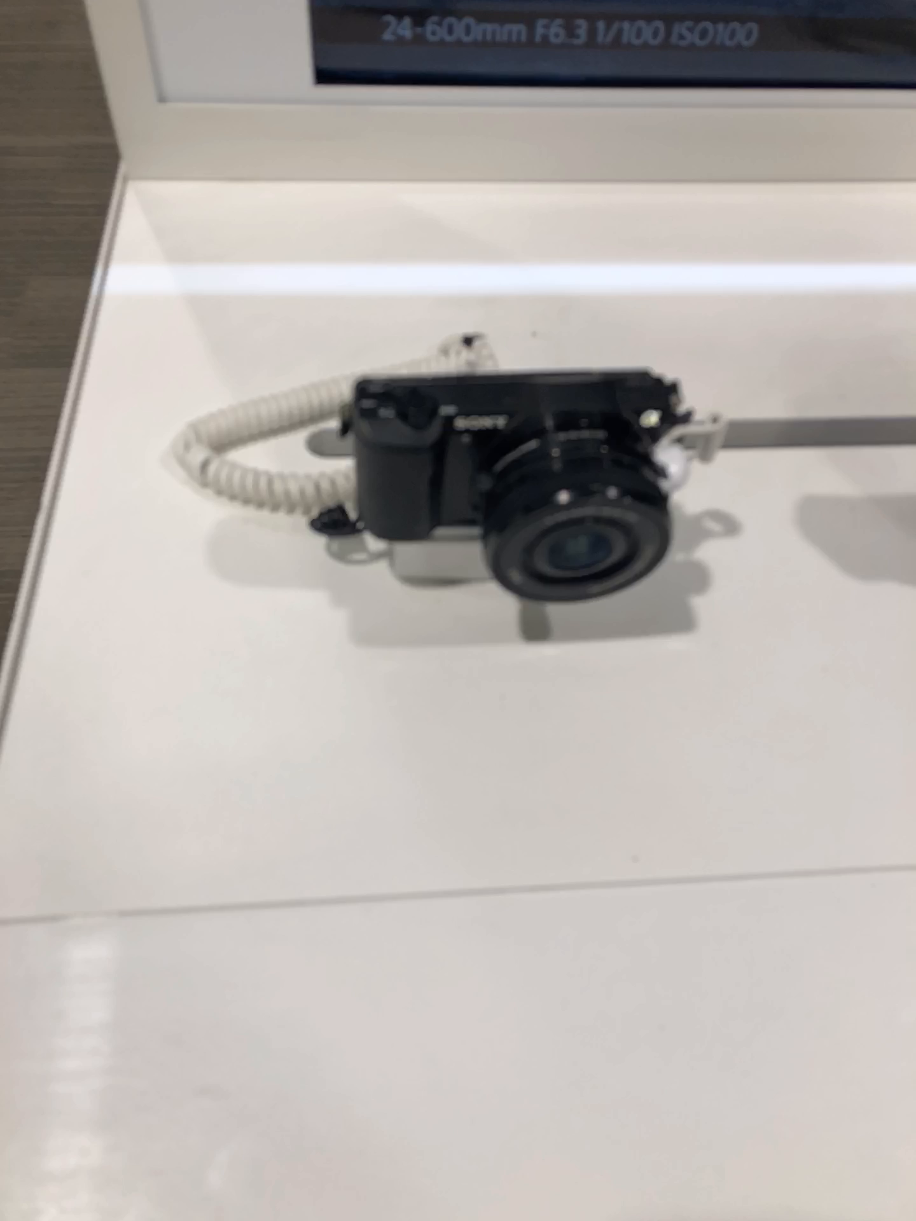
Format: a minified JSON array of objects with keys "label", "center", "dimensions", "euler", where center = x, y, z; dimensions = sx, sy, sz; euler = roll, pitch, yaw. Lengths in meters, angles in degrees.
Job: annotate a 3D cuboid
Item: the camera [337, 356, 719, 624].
[{"label":"camera","center":[0.018,-0.040,0.333],"dimensions":[0.113,0.060,0.062],"euler":[-2,54,-3]}]
